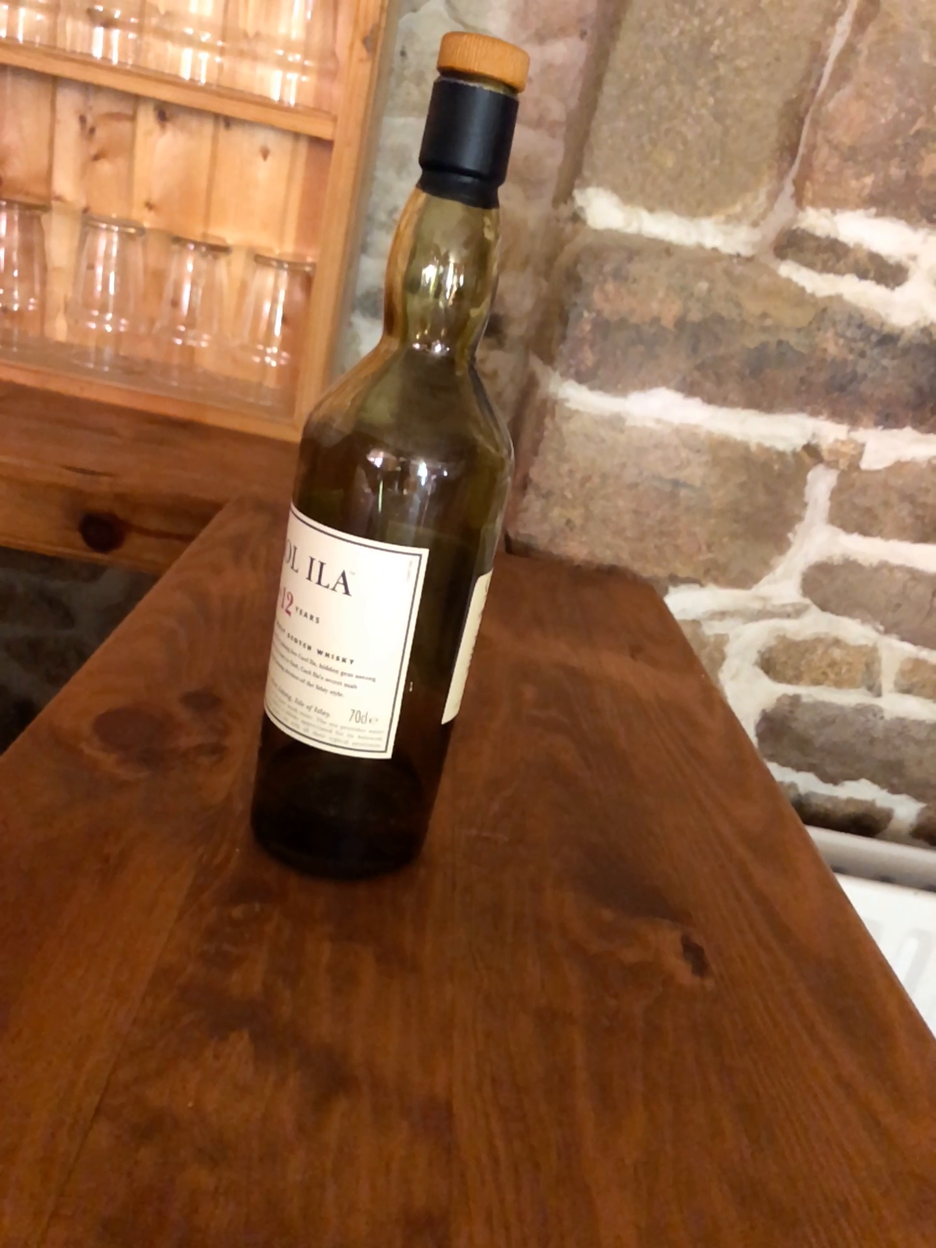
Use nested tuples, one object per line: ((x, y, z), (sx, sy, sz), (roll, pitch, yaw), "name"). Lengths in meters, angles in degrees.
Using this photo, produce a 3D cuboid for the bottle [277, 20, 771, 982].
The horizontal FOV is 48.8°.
((0.007, -0.032, 0.359), (0.070, 0.299, 0.080), (-1, 23, -38), "bottle")
